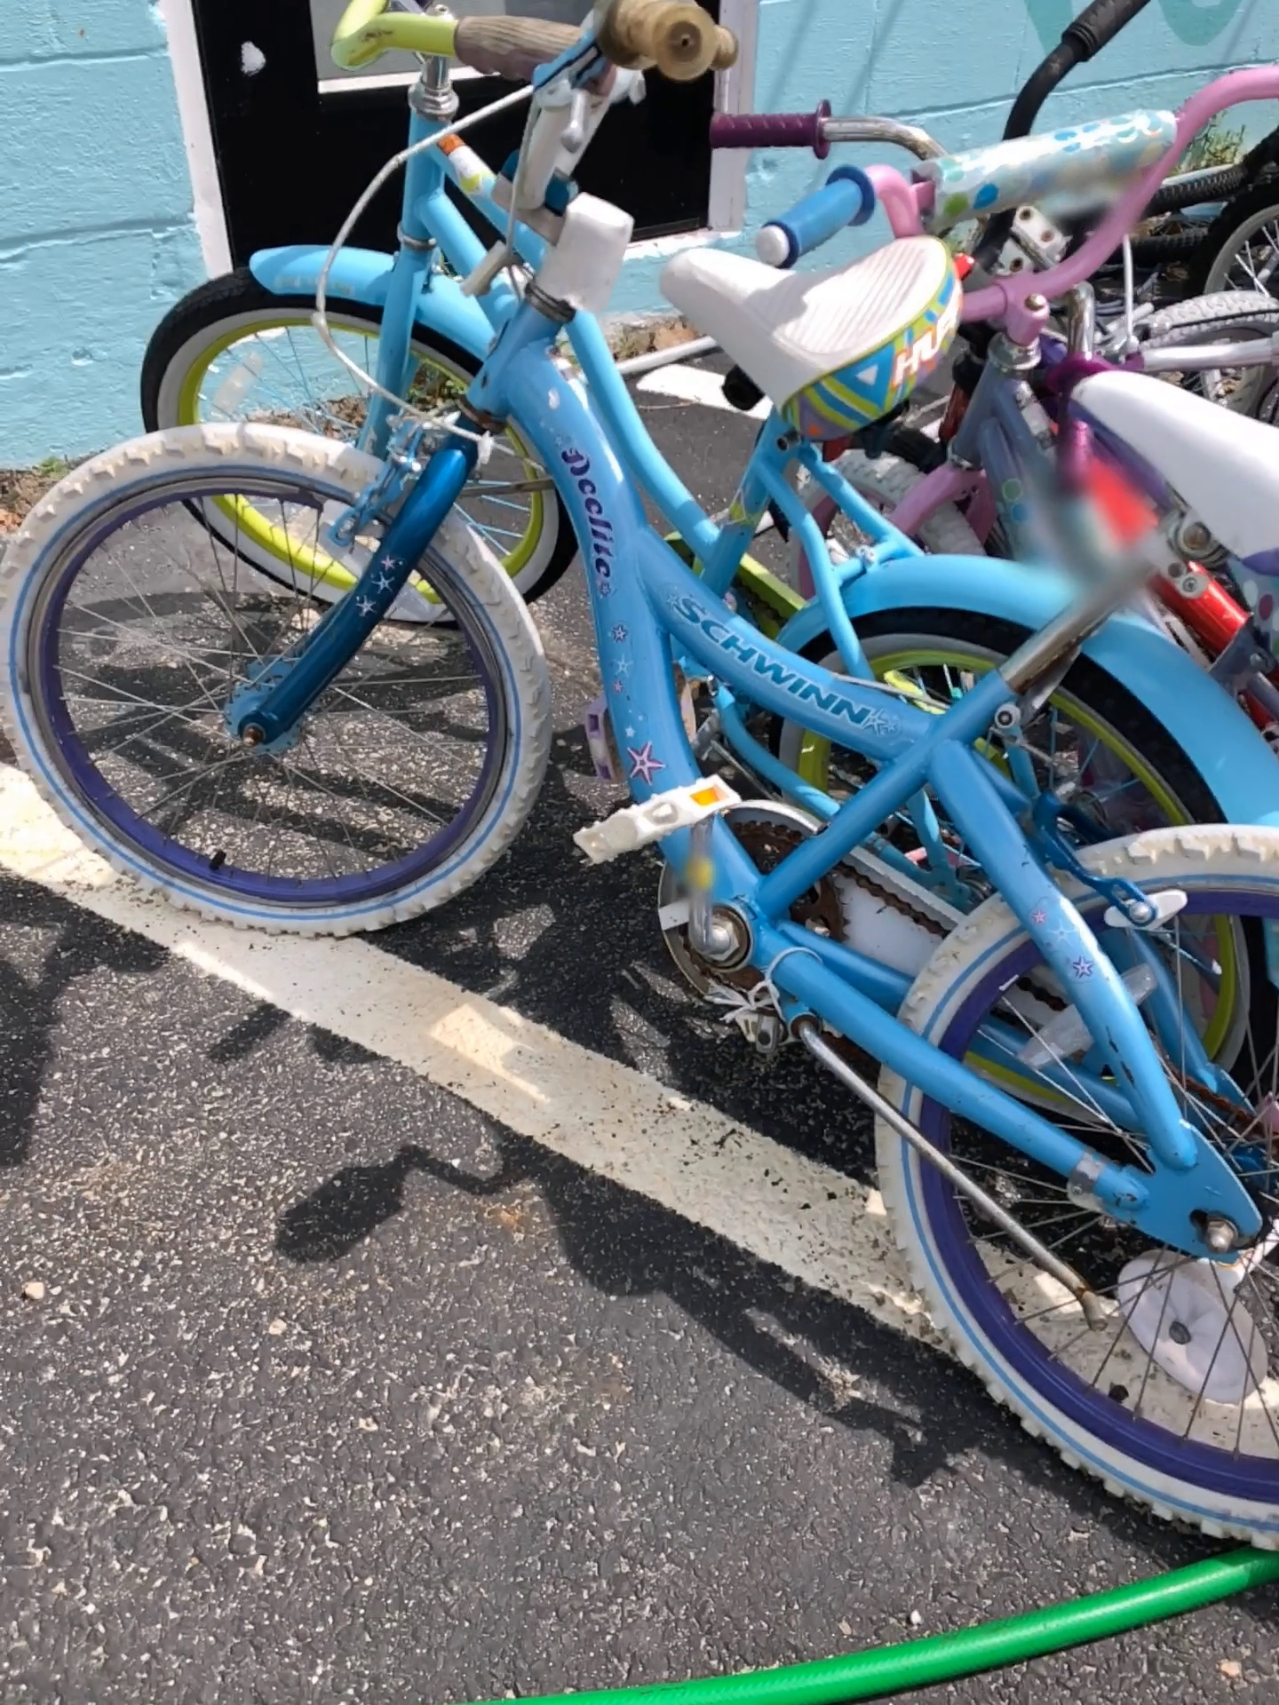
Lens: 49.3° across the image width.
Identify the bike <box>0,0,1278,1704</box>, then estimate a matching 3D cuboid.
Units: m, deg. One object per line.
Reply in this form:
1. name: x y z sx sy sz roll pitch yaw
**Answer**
1. bike: 0.125 -0.208 0.936 1.266 0.777 0.558 26 44 19
